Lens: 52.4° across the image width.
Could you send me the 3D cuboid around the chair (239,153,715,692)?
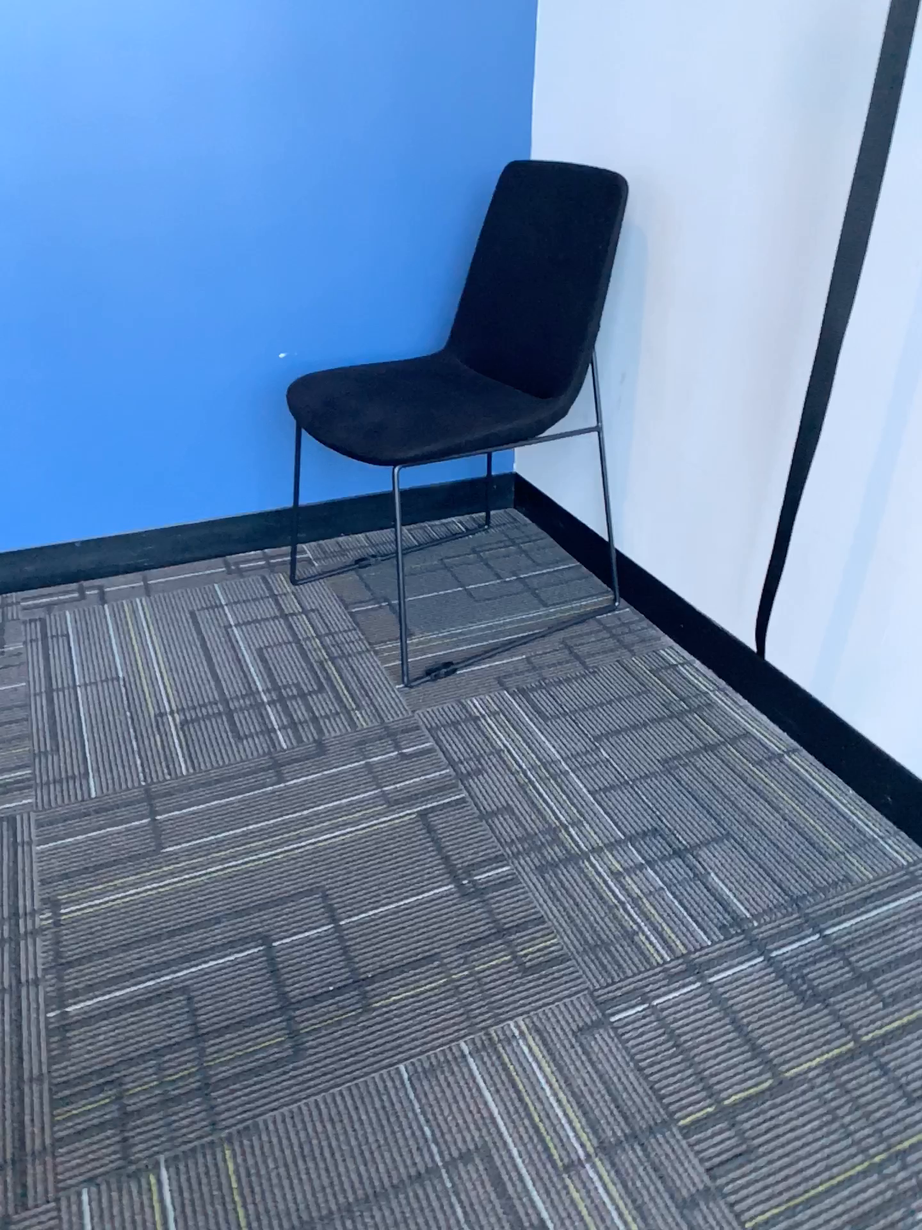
[{"bbox_3d":[0.009,-0.386,1.685,0.581,0.755,0.503,-18,35,-30],"label":"chair"}]
